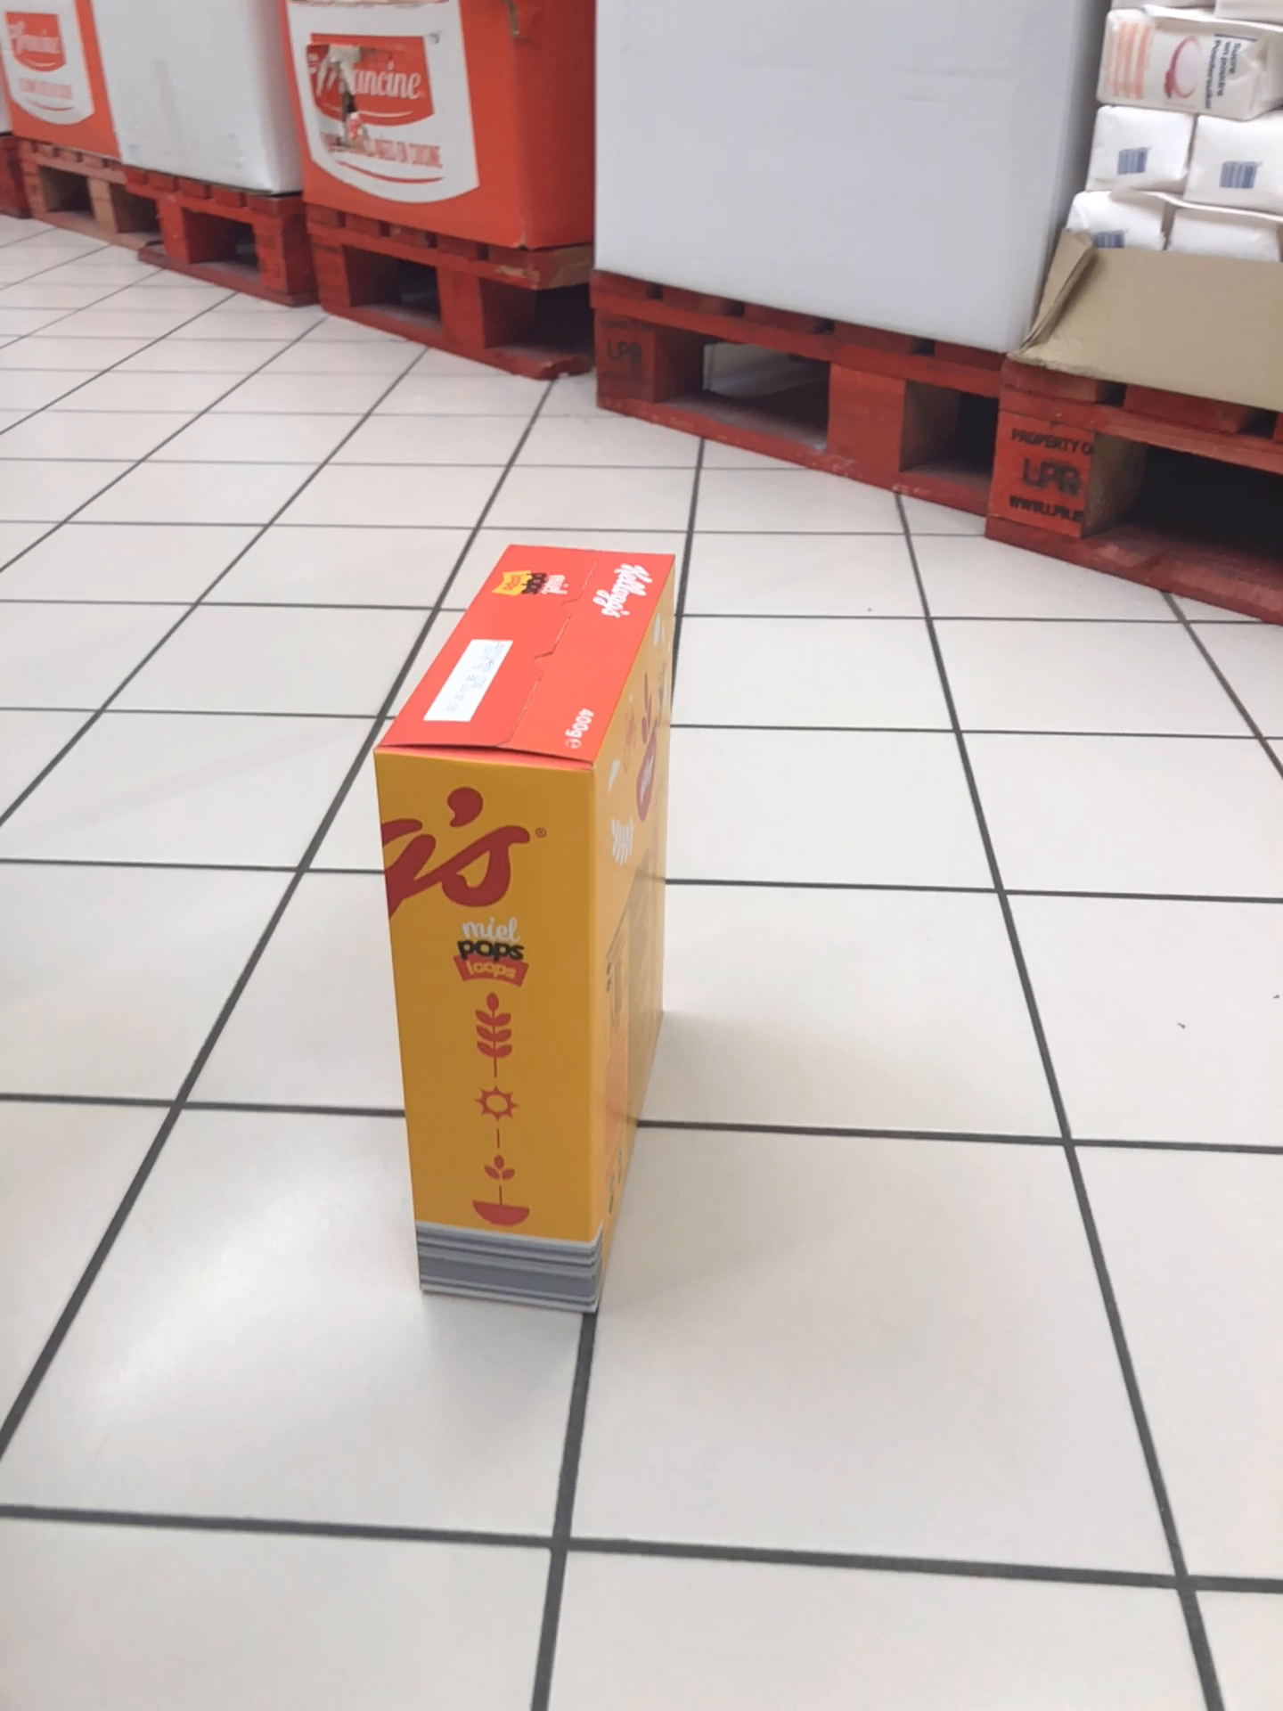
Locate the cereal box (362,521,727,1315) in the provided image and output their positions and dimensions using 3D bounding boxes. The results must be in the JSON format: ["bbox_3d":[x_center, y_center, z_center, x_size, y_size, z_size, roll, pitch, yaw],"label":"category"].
[{"bbox_3d":[-0.023,0.017,0.552,0.090,0.239,0.191,4,31,7],"label":"cereal box"}]
